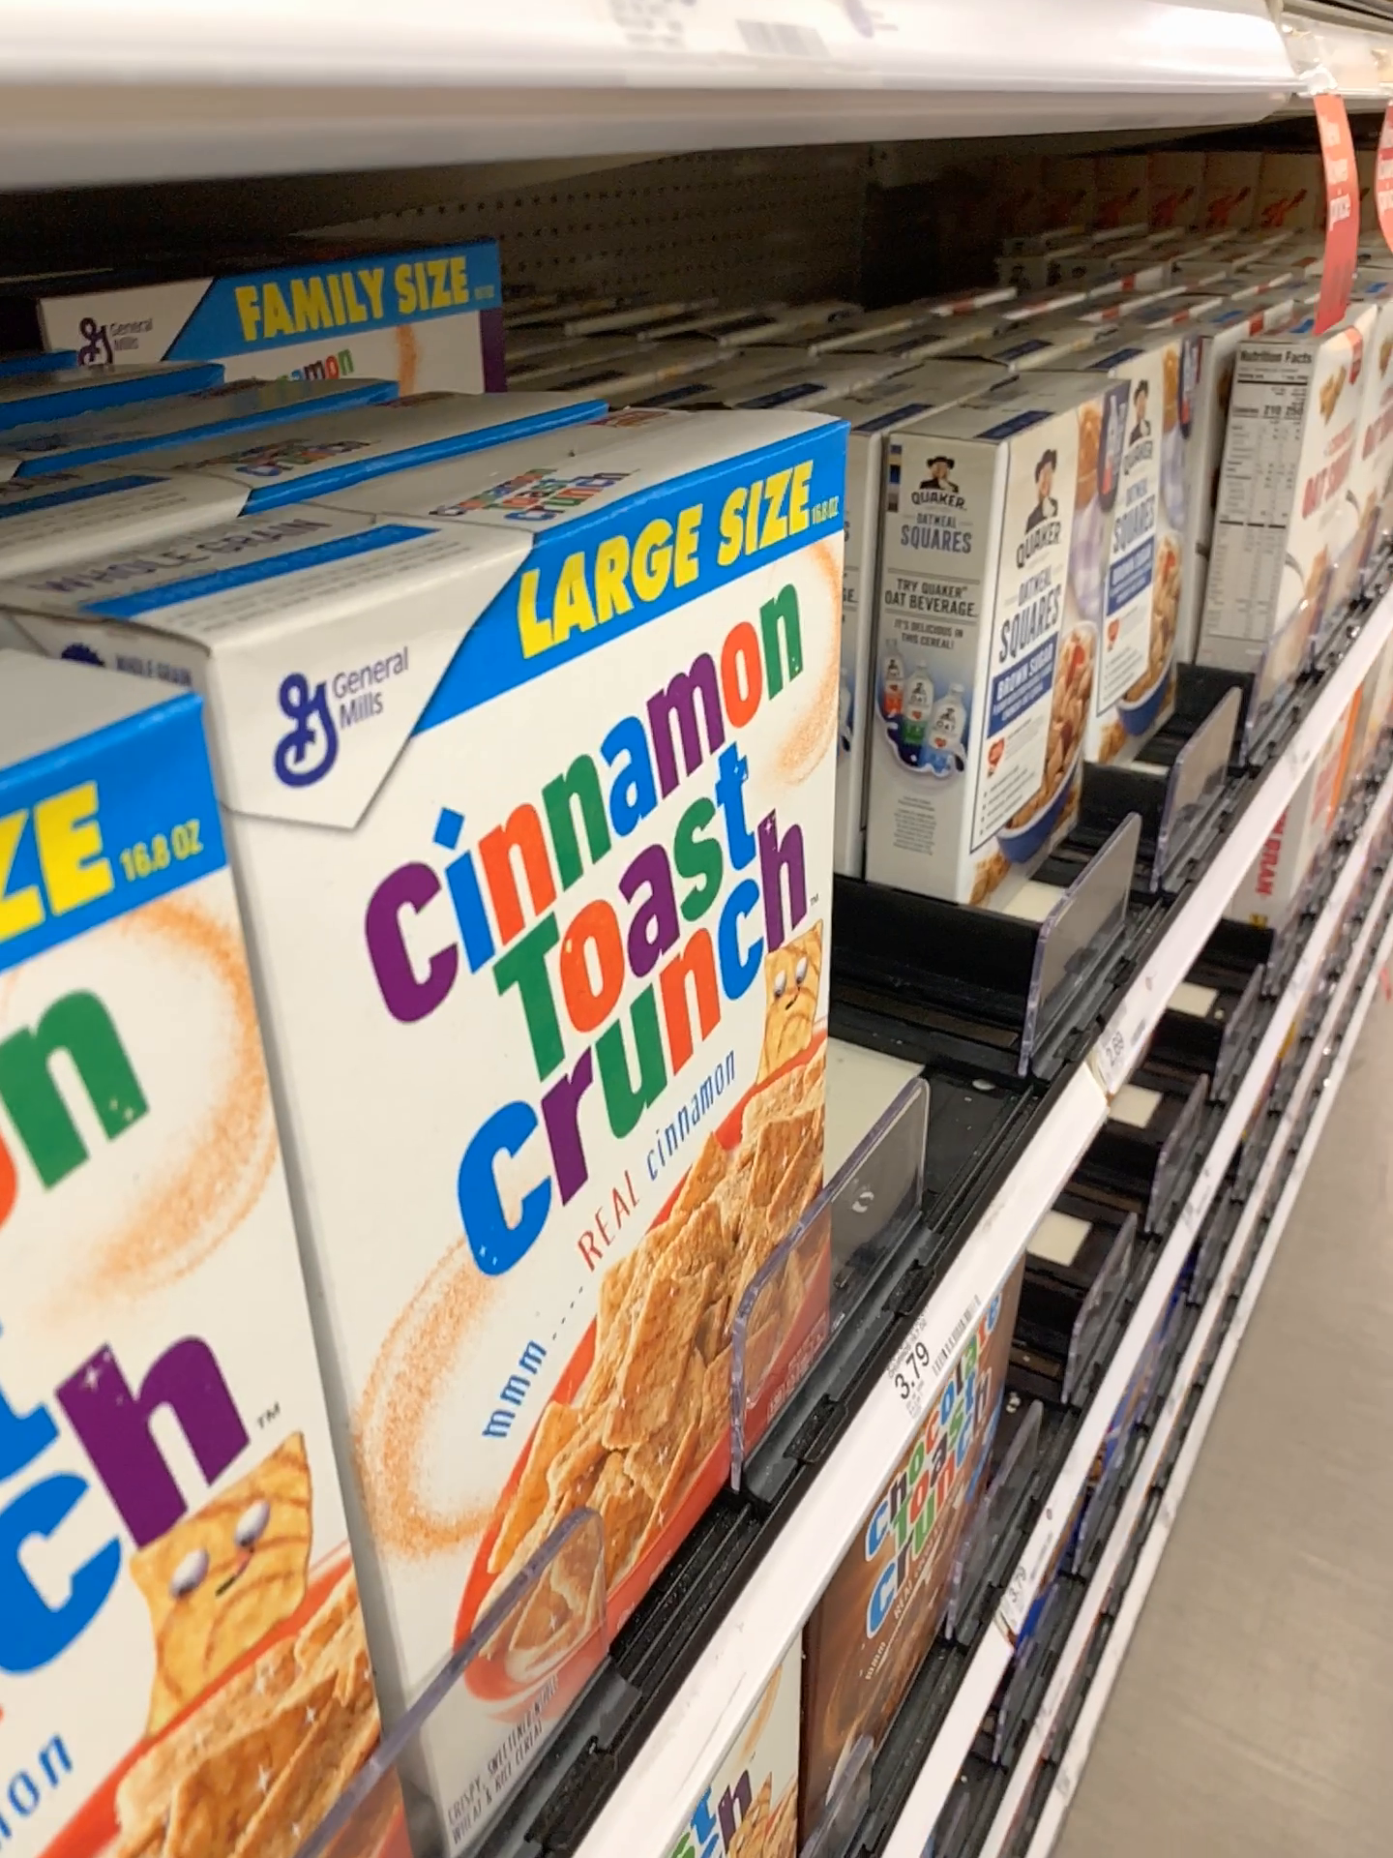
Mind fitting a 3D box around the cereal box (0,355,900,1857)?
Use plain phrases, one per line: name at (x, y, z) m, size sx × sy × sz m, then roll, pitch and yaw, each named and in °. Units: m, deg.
cereal box at (-0.031, 0.035, 0.333) m, size 0.070 × 0.288 × 0.191 m, roll 16°, pitch 33°, yaw 28°
